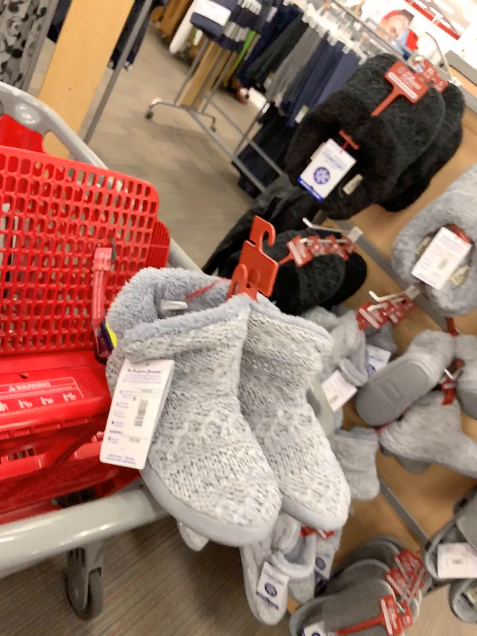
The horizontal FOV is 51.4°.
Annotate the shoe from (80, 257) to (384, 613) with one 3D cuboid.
[{"bbox_3d":[-0.024,0.084,0.441,0.110,0.139,0.250,1,42,-45],"label":"shoe"}]

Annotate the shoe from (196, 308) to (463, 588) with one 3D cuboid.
[{"bbox_3d":[0.079,0.113,0.503,0.110,0.119,0.230,1,42,-45],"label":"shoe"}]
